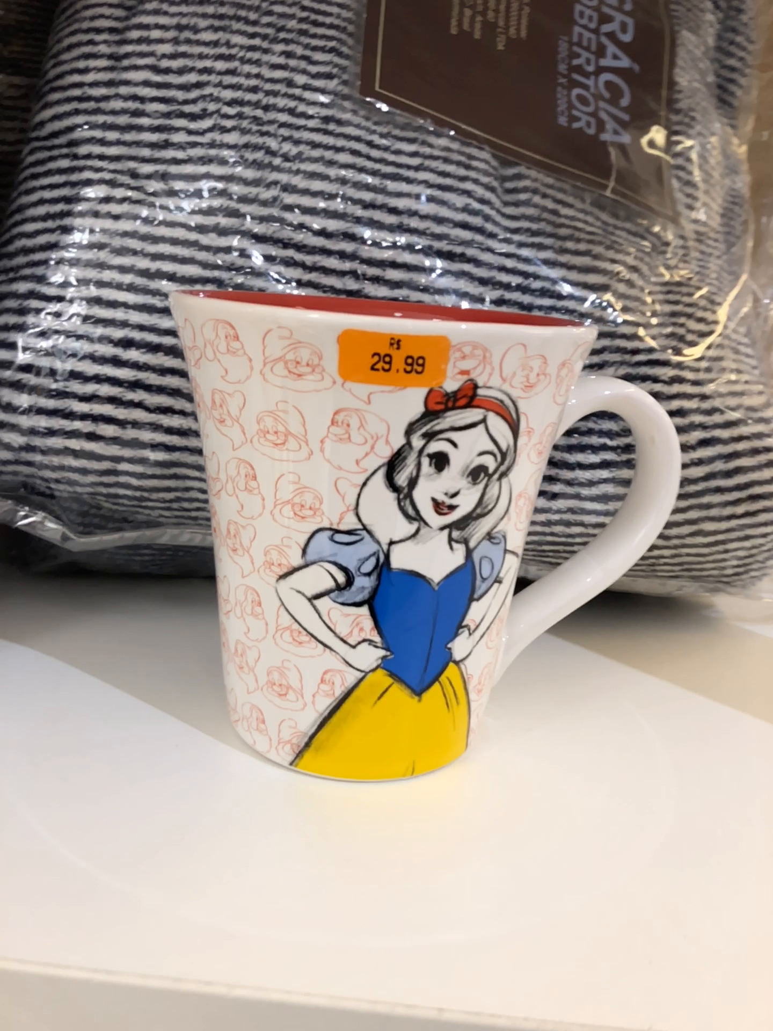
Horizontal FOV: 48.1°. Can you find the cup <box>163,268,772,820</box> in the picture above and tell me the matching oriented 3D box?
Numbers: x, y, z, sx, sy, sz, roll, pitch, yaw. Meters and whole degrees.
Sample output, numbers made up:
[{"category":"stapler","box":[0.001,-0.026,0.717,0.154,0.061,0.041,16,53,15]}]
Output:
[{"category":"cup","box":[0.014,-0.003,0.193,0.120,0.090,0.090,1,16,-13]}]

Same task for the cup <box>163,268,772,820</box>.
[{"category":"cup","box":[0.014,-0.003,0.193,0.120,0.090,0.090,1,16,-13]}]
